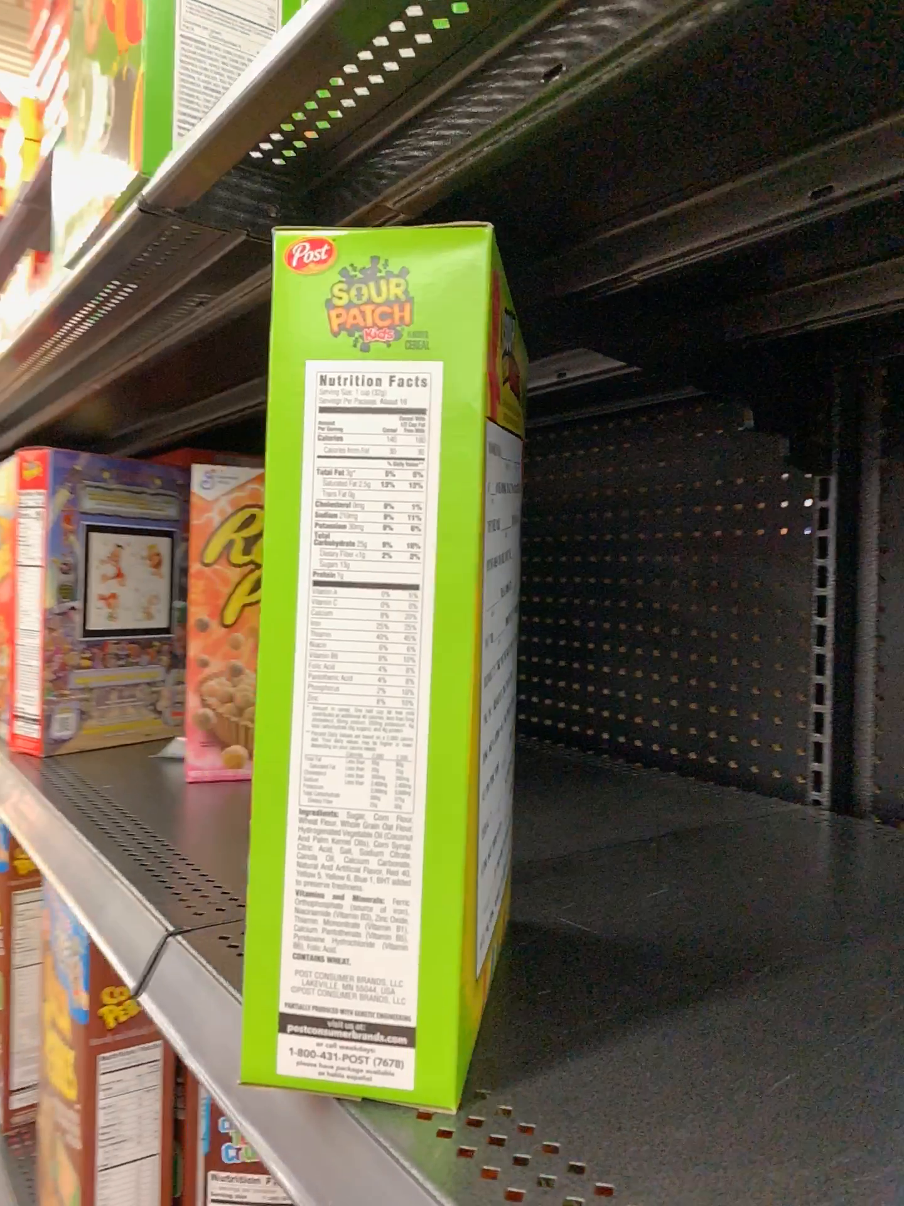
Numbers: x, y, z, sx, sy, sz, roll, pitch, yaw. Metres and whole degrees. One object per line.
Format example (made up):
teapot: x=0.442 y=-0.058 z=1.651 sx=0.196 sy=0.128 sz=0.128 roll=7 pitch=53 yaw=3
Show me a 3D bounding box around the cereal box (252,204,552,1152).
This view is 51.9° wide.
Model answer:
cereal box: x=-0.007 y=0.022 z=0.409 sx=0.080 sy=0.310 sz=0.200 roll=2 pitch=1 yaw=9
